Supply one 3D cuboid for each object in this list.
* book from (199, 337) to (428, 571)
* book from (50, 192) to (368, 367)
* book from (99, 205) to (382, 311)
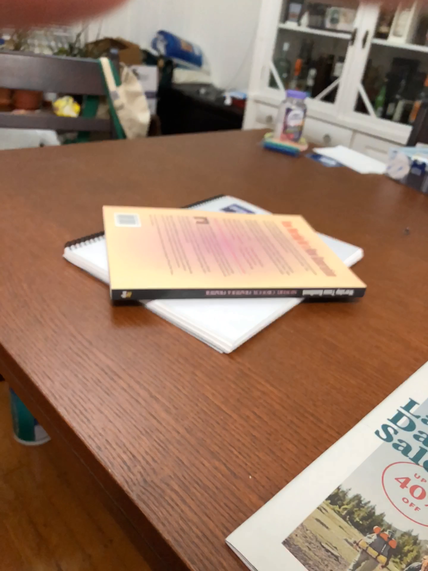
[{"bbox_3d":[0.158,0.129,0.276,0.271,0.010,0.200,-21,41,-41],"label":"book"},{"bbox_3d":[0.010,-0.036,0.542,0.230,0.020,0.291,26,34,29],"label":"book"},{"bbox_3d":[0.013,-0.037,0.510,0.260,0.020,0.191,-1,31,-15],"label":"book"}]
